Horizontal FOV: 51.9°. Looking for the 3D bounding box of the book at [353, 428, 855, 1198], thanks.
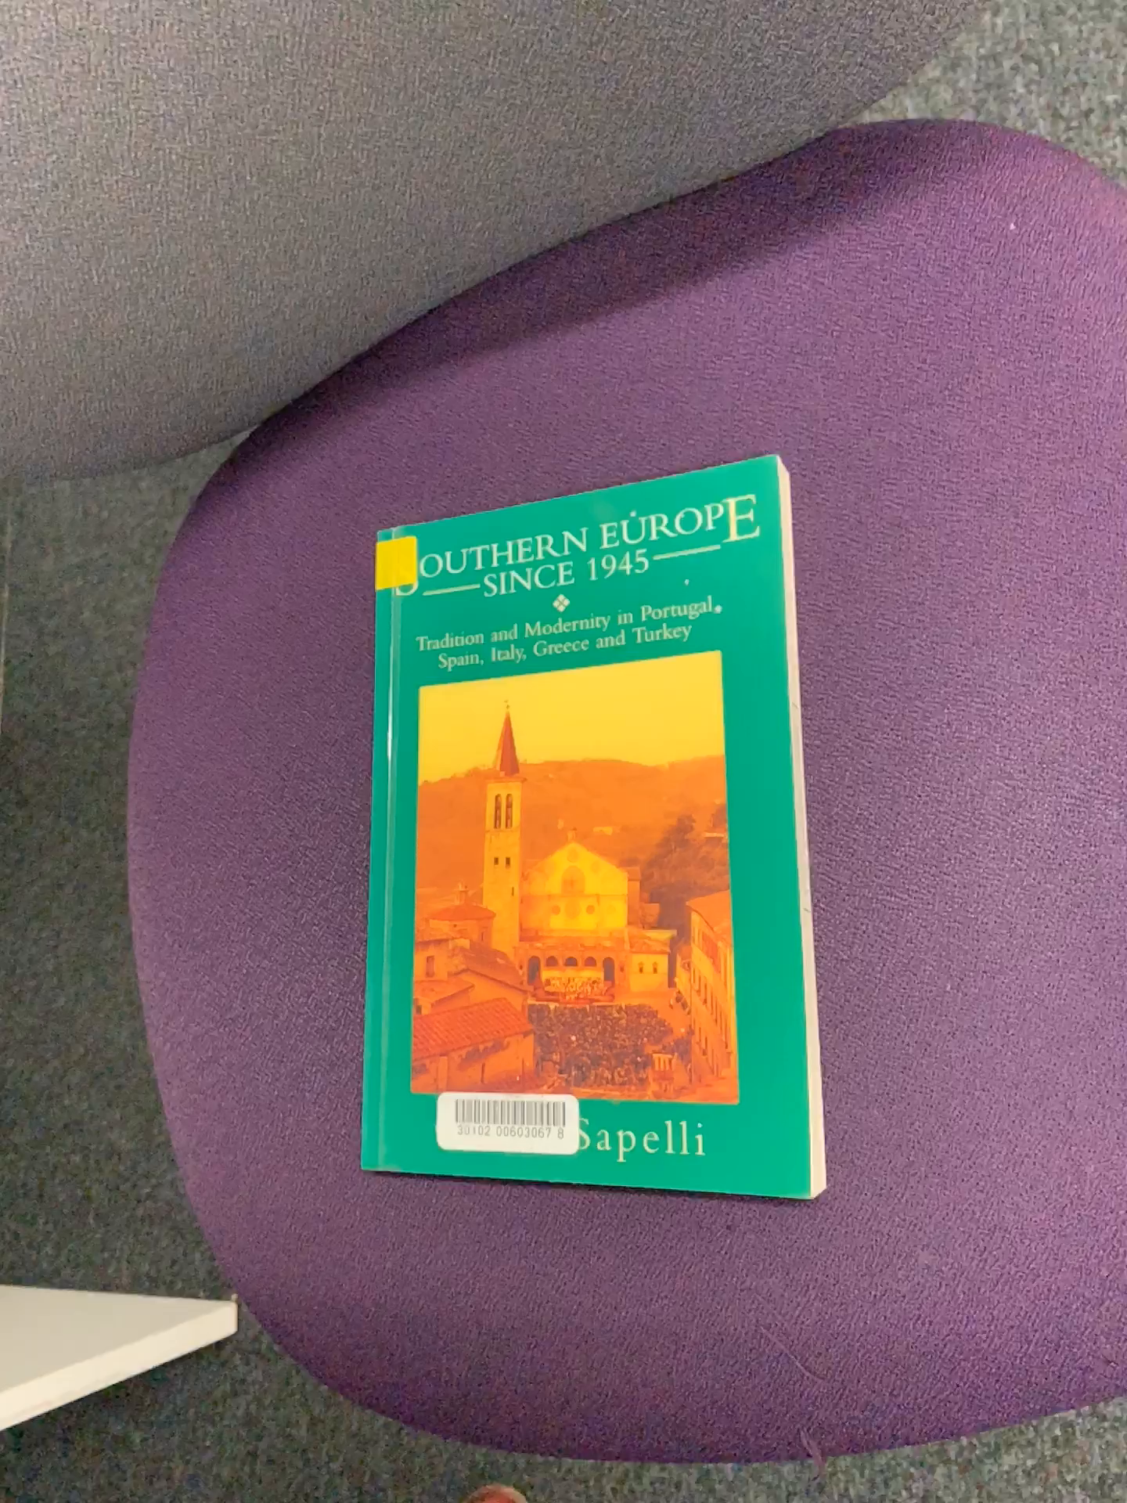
[{"bbox_3d":[0.006,0.019,0.369,0.154,0.020,0.221,-6,78,23],"label":"book"}]
